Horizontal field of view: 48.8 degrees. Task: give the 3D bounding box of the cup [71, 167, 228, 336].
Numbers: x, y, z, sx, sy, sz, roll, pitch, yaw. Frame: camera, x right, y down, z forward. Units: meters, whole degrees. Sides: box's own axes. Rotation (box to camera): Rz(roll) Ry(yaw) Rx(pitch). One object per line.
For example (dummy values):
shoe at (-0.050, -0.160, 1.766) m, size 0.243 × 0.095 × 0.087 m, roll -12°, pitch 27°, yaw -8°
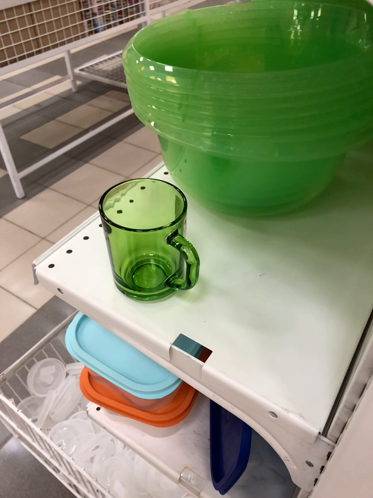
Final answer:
cup at (-0.031, -0.002, 0.363) m, size 0.110 × 0.086 × 0.073 m, roll 31°, pitch 51°, yaw 31°
